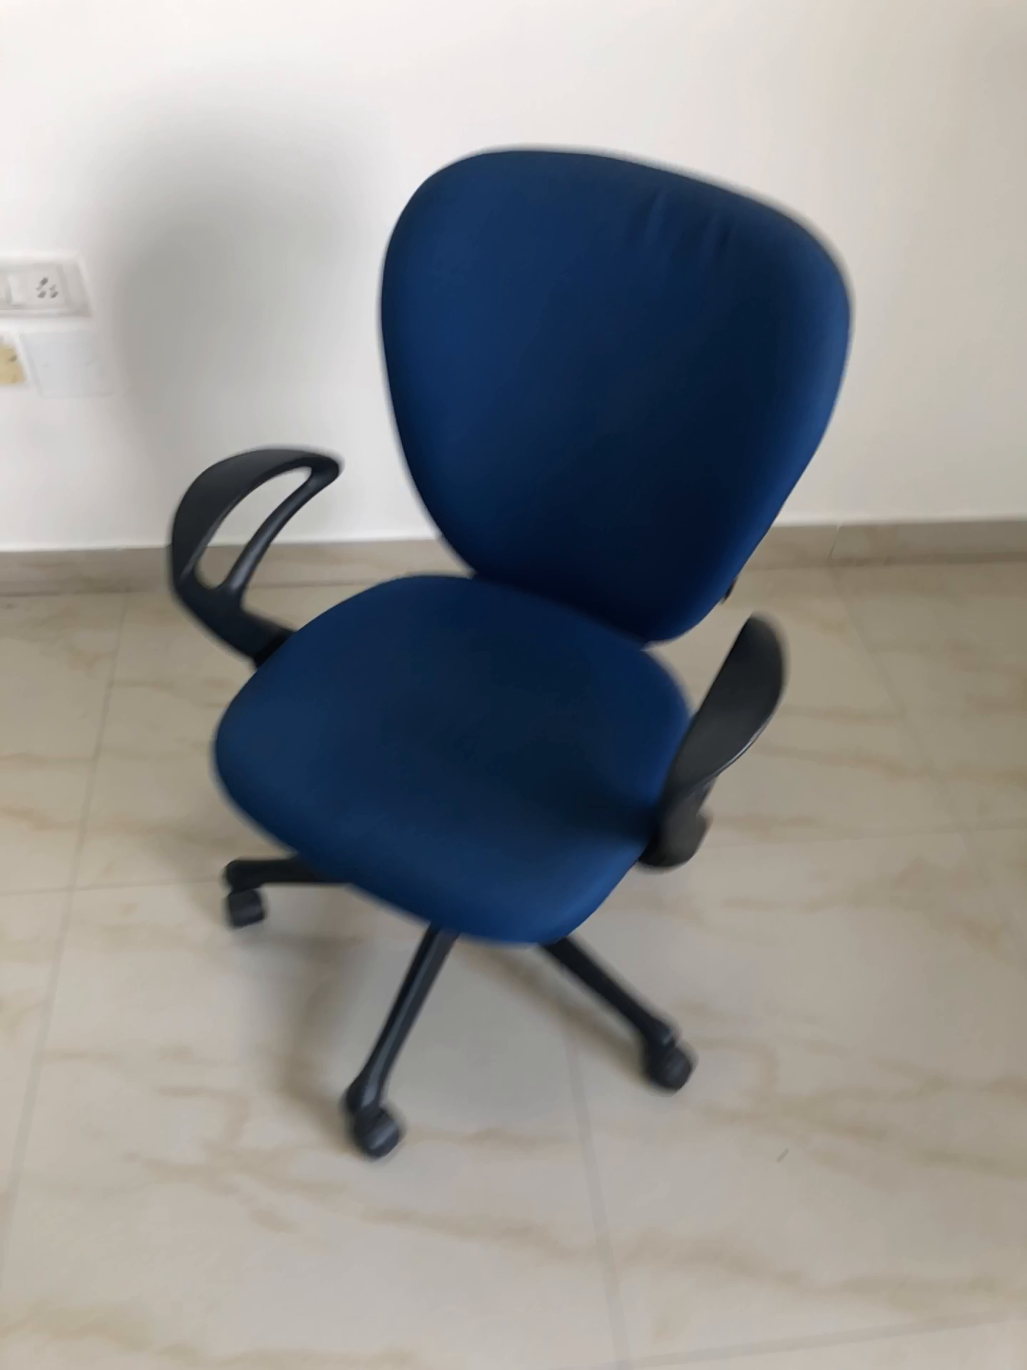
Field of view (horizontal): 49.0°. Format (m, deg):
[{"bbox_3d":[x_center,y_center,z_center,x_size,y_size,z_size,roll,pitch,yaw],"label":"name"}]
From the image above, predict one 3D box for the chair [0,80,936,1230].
[{"bbox_3d":[-0.060,-0.010,1.206,0.650,0.914,0.705,8,45,4],"label":"chair"}]
